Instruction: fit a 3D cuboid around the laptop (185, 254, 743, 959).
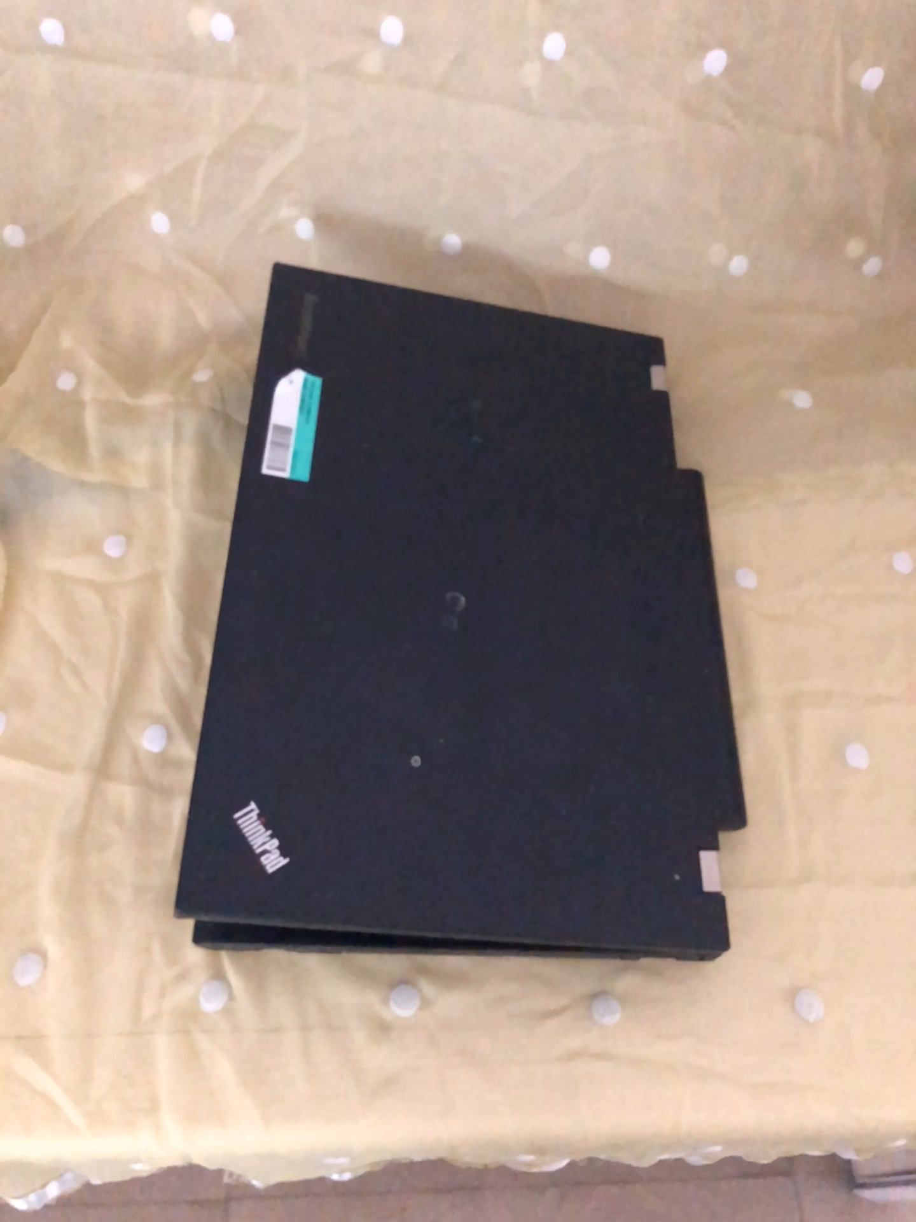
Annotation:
[{"bbox_3d":[0.005,-0.026,0.516,0.225,0.050,0.357,2,62,1],"label":"laptop"}]
